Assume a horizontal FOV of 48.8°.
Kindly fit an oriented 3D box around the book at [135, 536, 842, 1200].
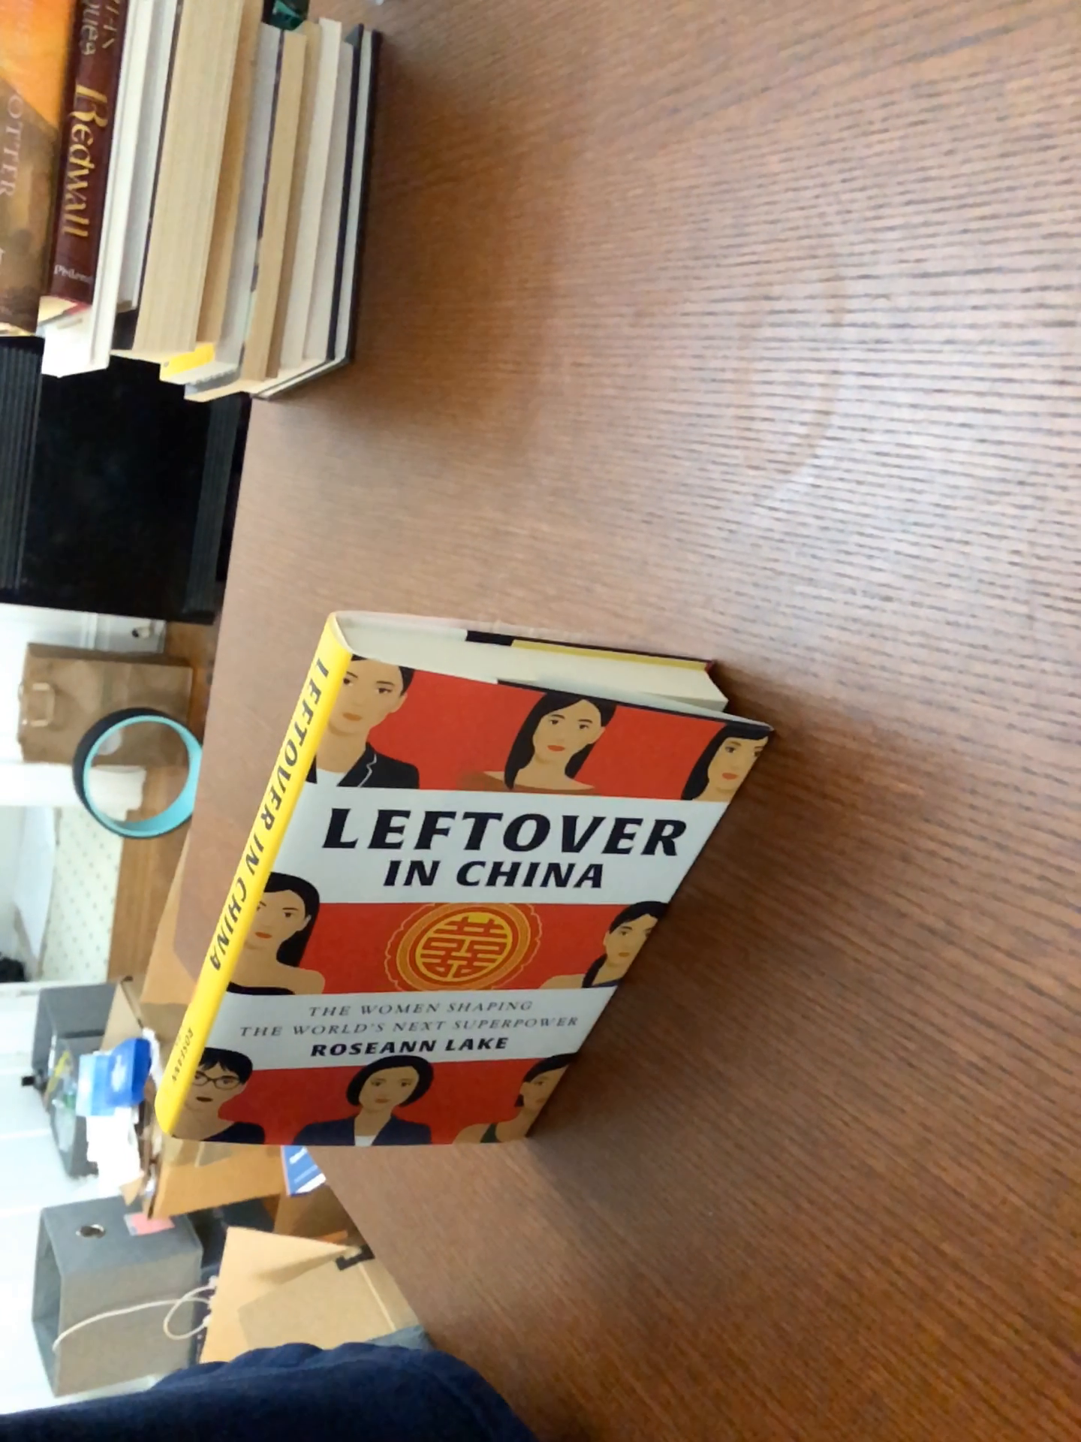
[{"bbox_3d":[-0.031,0.069,0.457,0.260,0.179,0.060,-63,39,30],"label":"book"}]
